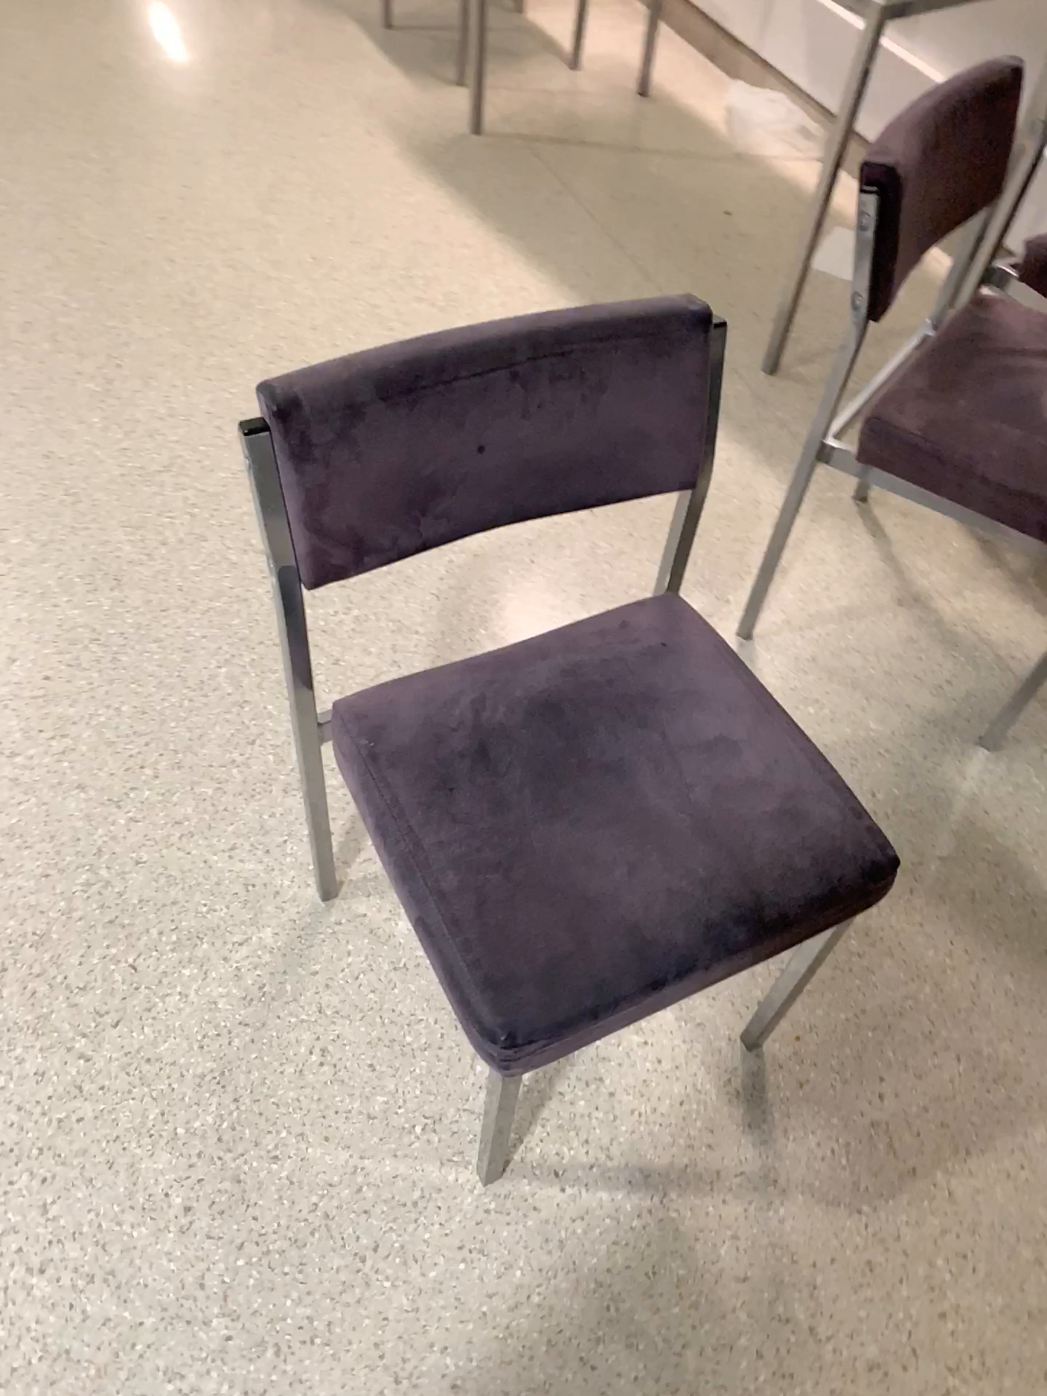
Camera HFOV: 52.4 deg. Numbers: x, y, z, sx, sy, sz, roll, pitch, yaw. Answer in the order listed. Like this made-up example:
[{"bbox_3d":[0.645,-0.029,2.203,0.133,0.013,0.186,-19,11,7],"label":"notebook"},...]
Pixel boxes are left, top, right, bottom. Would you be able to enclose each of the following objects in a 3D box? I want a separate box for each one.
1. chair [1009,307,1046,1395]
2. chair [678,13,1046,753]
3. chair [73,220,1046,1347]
[{"bbox_3d":[0.919,0.244,0.769,0.742,0.615,0.513,30,56,17],"label":"chair"},{"bbox_3d":[0.659,-0.467,1.471,0.512,0.615,0.744,30,54,26],"label":"chair"},{"bbox_3d":[0.077,0.023,0.974,0.681,0.506,0.684,-19,56,-20],"label":"chair"}]
